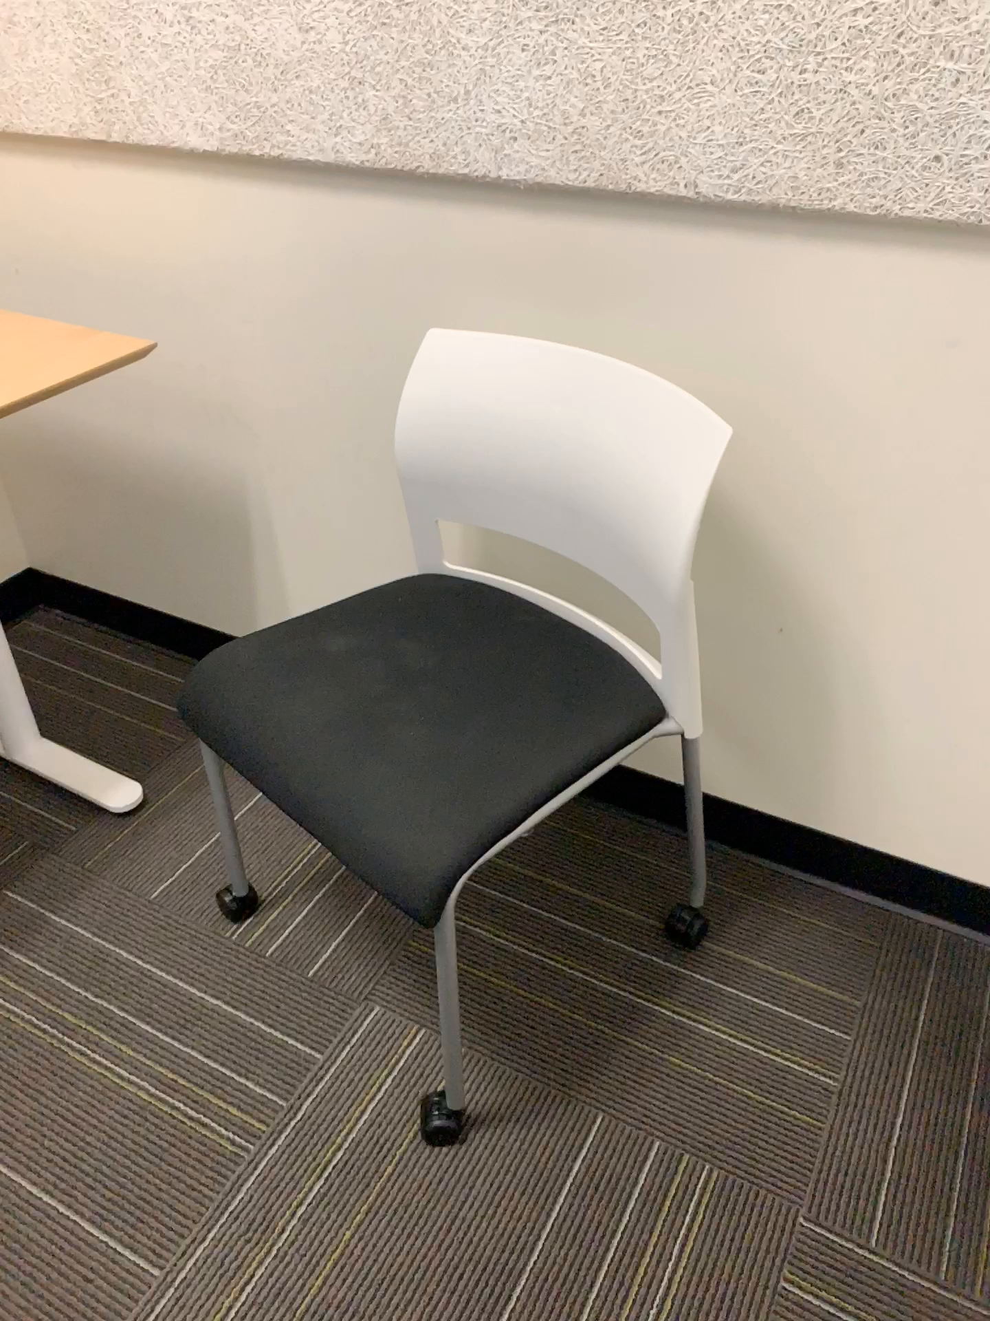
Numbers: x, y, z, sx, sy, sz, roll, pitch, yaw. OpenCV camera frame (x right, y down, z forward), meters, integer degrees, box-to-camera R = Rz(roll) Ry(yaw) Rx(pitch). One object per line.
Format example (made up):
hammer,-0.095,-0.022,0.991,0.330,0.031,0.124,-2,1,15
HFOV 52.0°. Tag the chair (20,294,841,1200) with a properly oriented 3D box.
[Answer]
chair,-0.060,0.051,1.309,0.623,0.775,0.621,28,44,34
